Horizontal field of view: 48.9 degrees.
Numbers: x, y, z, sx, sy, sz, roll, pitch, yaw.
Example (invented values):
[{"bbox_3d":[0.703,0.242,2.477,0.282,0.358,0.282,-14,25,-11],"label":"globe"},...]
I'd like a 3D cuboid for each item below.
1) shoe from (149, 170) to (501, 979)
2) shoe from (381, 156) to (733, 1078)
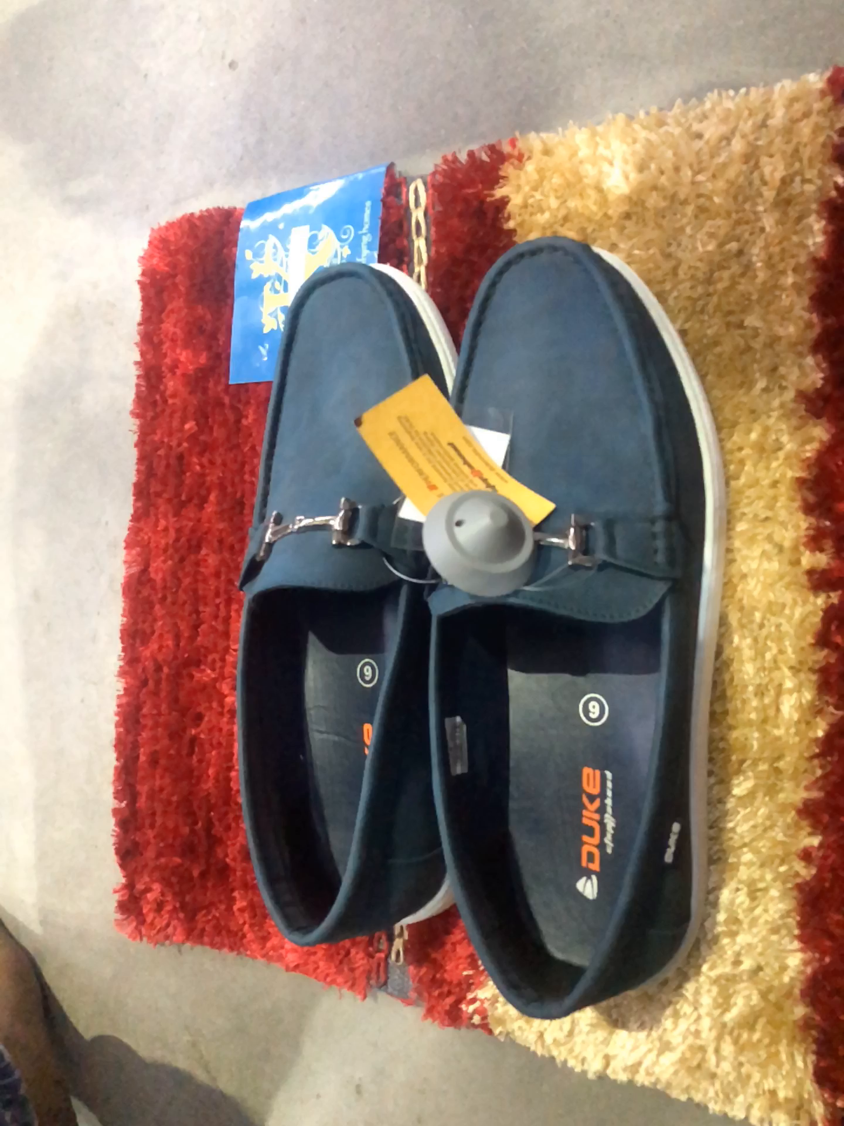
[{"bbox_3d":[-0.038,0.004,0.387,0.110,0.090,0.280,-3,85,30],"label":"shoe"},{"bbox_3d":[0.053,0.016,0.347,0.100,0.090,0.280,-2,85,30],"label":"shoe"}]
